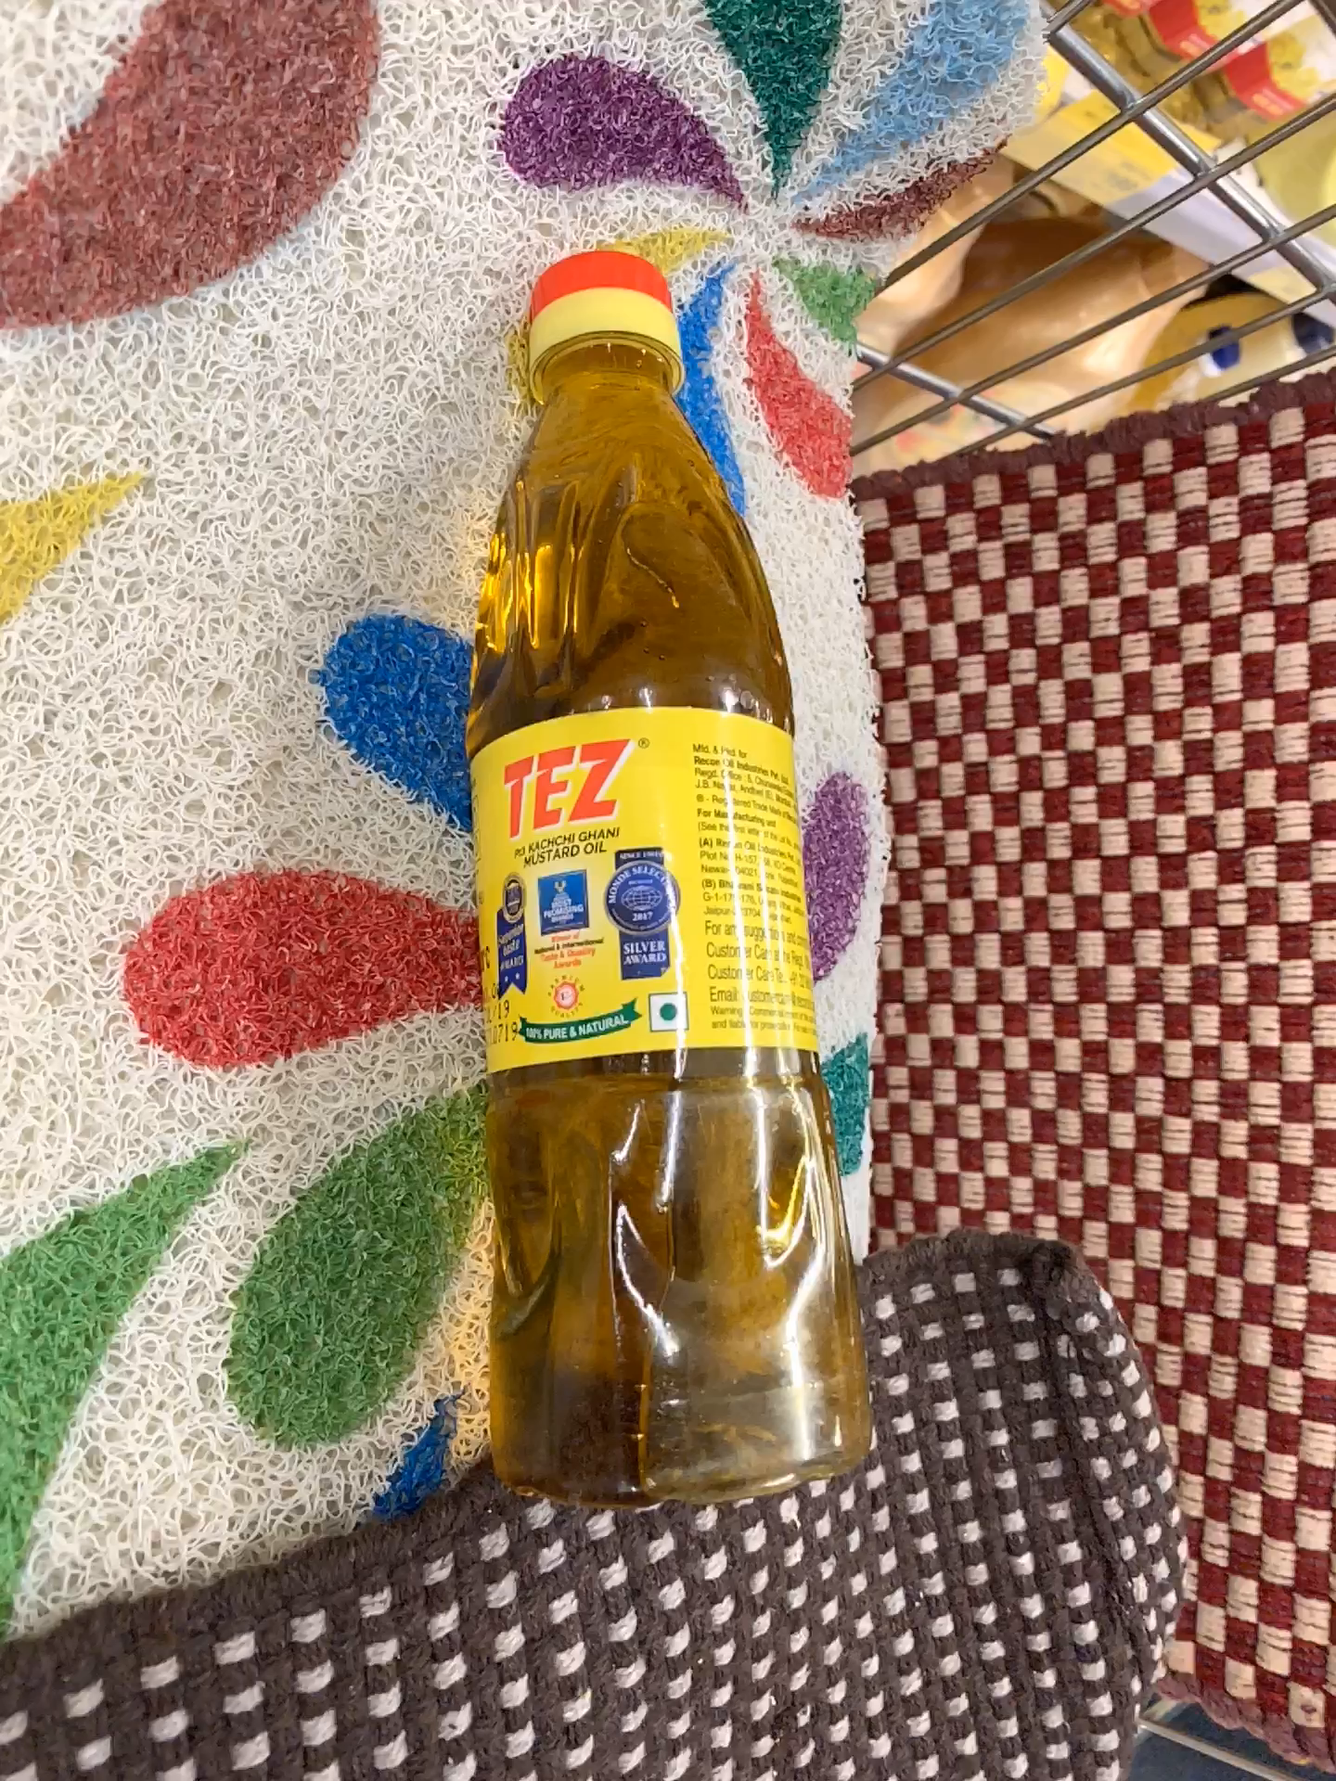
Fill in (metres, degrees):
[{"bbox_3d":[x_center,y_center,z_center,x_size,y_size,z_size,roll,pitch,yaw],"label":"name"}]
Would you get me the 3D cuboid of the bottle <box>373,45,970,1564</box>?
[{"bbox_3d":[0.000,-0.012,0.225,0.070,0.060,0.200,6,80,-49],"label":"bottle"}]
